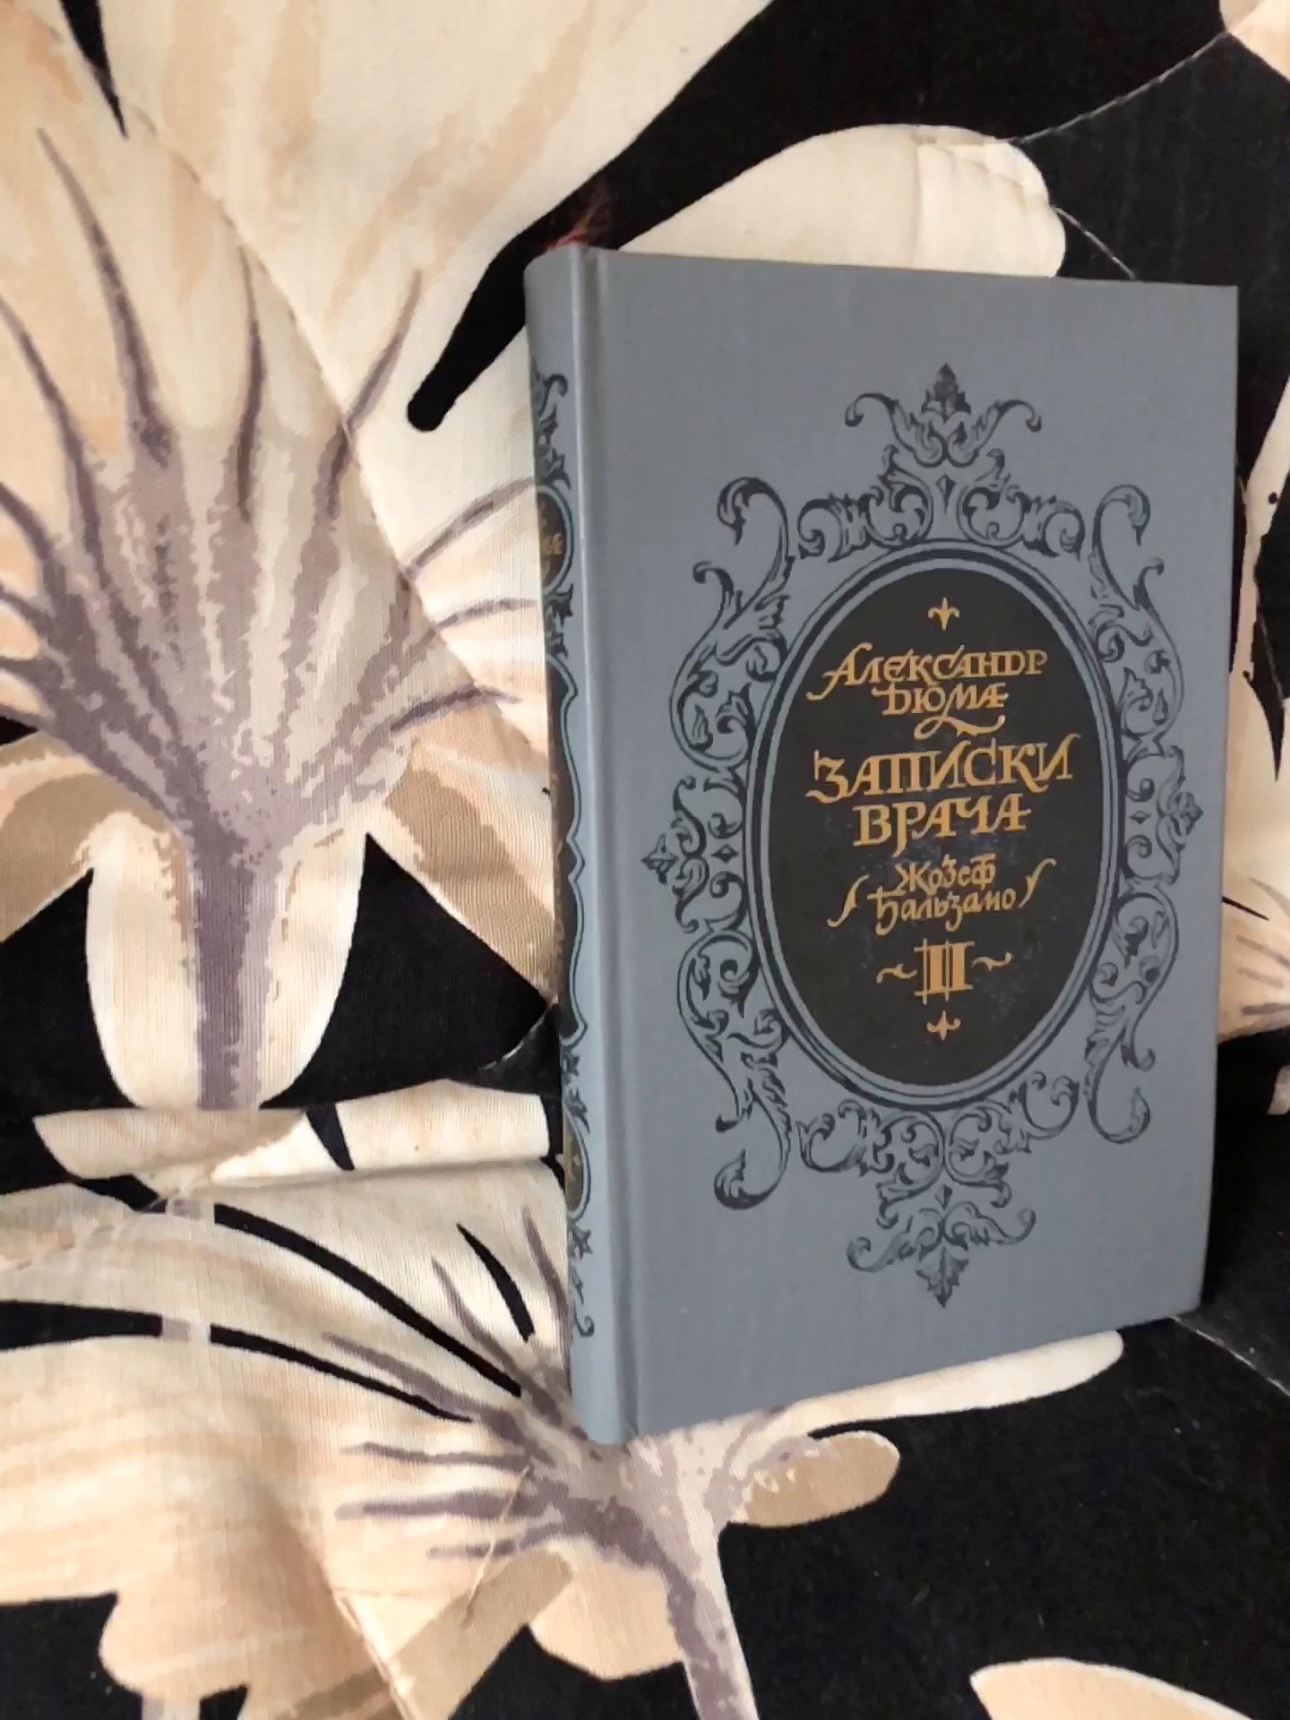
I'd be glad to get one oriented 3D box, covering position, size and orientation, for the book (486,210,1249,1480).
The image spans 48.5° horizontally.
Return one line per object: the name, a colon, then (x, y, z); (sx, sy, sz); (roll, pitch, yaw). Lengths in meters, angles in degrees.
book: (0.046, -0.003, 0.274); (0.140, 0.030, 0.210); (-5, 98, -20)
